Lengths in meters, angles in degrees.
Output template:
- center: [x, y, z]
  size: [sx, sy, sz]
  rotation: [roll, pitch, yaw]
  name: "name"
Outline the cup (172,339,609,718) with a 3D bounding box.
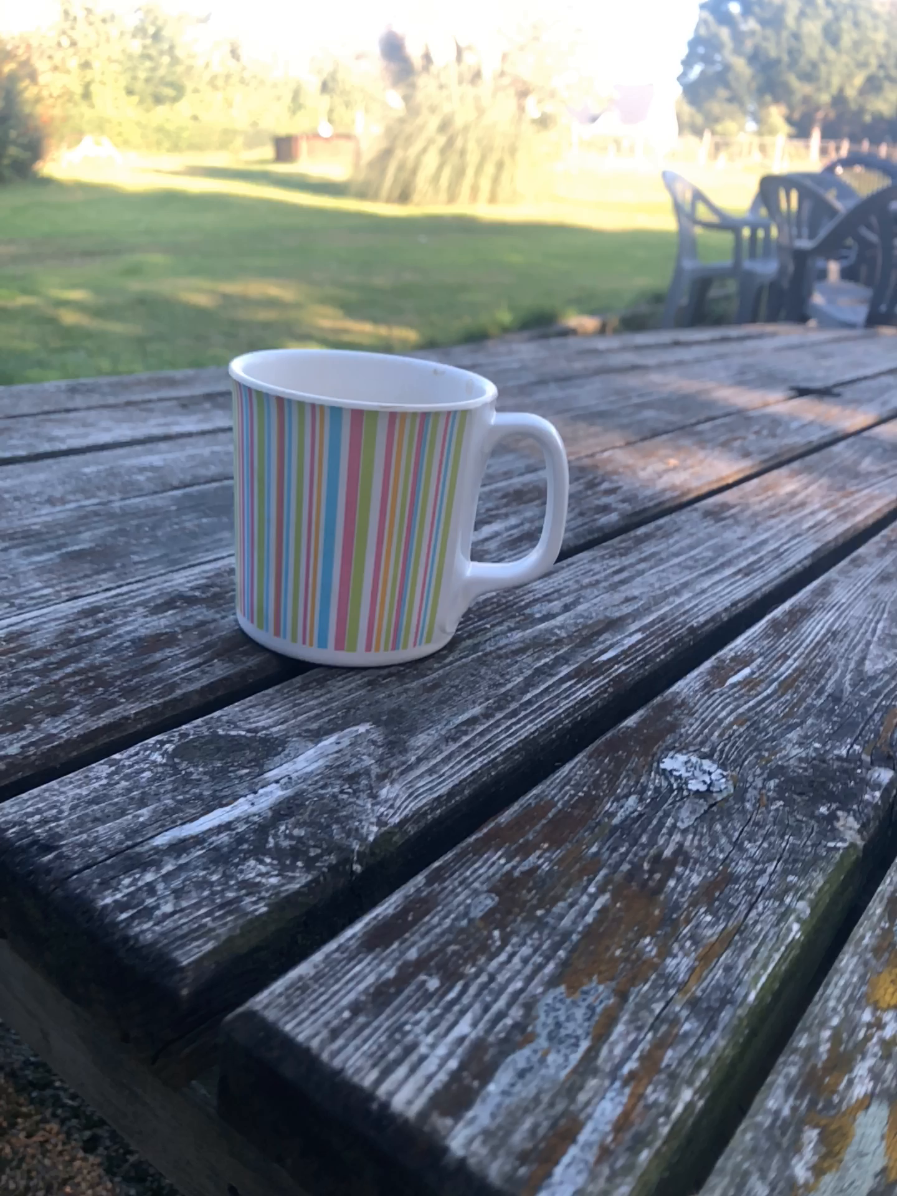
- center: [-0.020, -0.030, 0.366]
  size: [0.133, 0.096, 0.099]
  rotation: [6, 25, 0]
  name: "cup"
